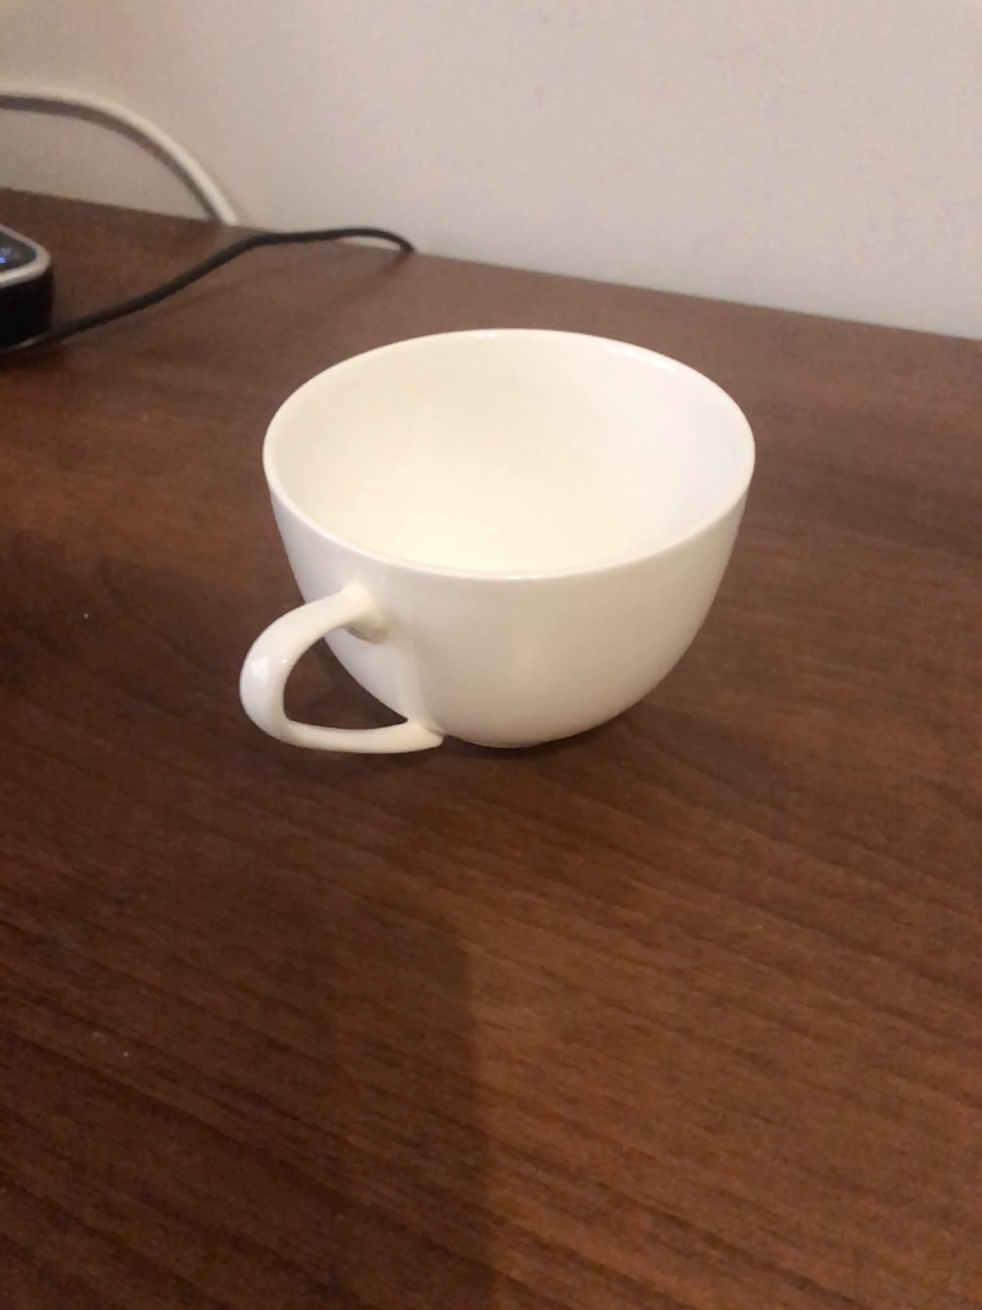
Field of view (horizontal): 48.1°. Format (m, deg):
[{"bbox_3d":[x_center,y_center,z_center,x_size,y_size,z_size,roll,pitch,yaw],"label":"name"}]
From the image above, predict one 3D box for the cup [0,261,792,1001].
[{"bbox_3d":[-0.013,-0.016,0.211,0.090,0.069,0.111,25,45,29],"label":"cup"}]
